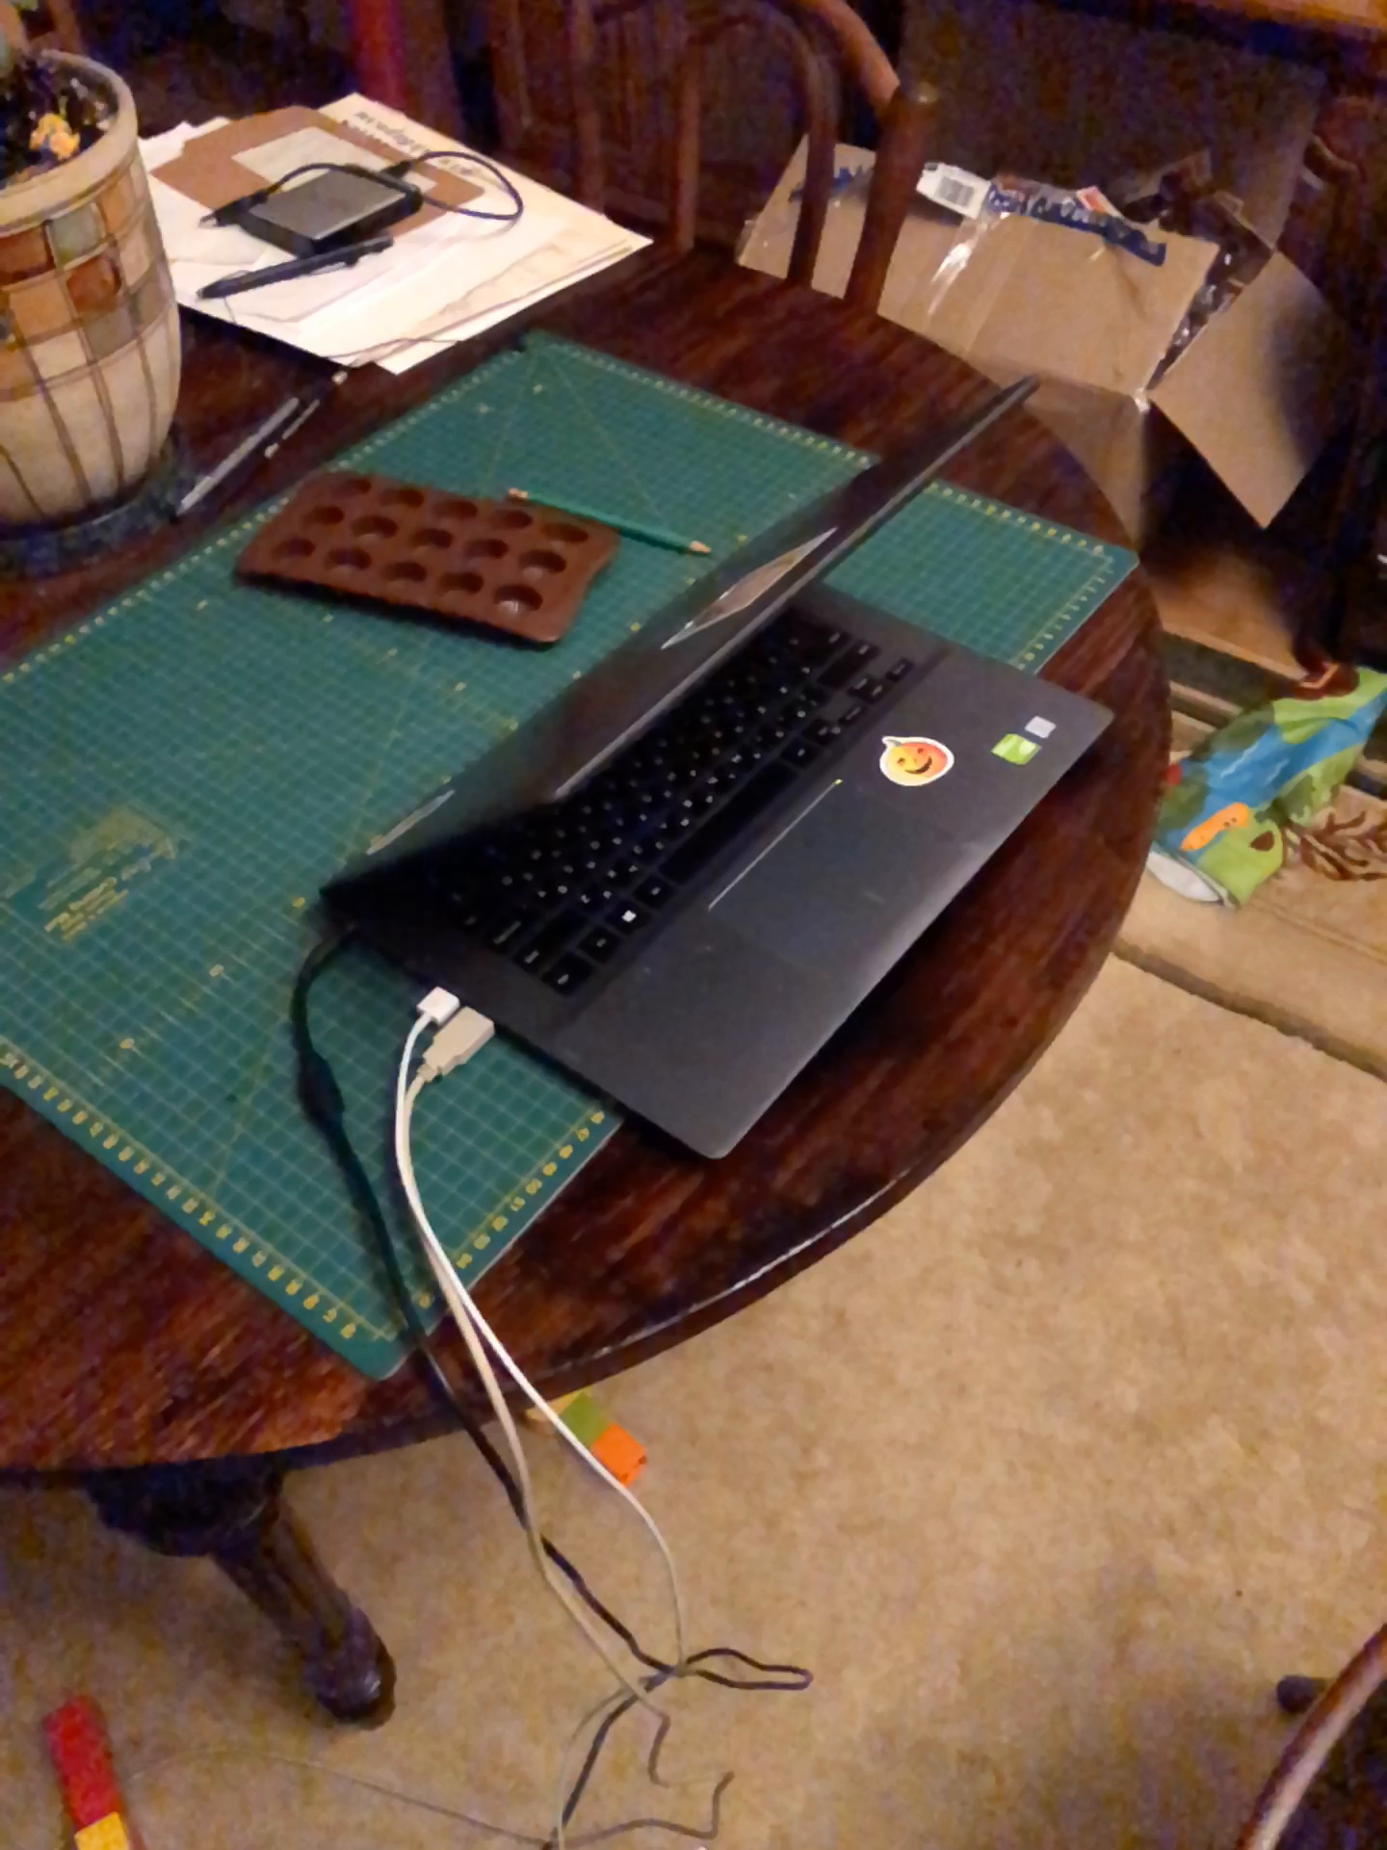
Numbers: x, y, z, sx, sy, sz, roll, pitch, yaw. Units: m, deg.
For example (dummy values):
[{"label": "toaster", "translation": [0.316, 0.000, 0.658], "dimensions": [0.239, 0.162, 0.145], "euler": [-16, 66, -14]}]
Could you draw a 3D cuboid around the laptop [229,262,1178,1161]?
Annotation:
[{"label": "laptop", "translation": [0.017, -0.111, 0.654], "dimensions": [0.224, 0.162, 0.319], "euler": [30, 56, 24]}]
